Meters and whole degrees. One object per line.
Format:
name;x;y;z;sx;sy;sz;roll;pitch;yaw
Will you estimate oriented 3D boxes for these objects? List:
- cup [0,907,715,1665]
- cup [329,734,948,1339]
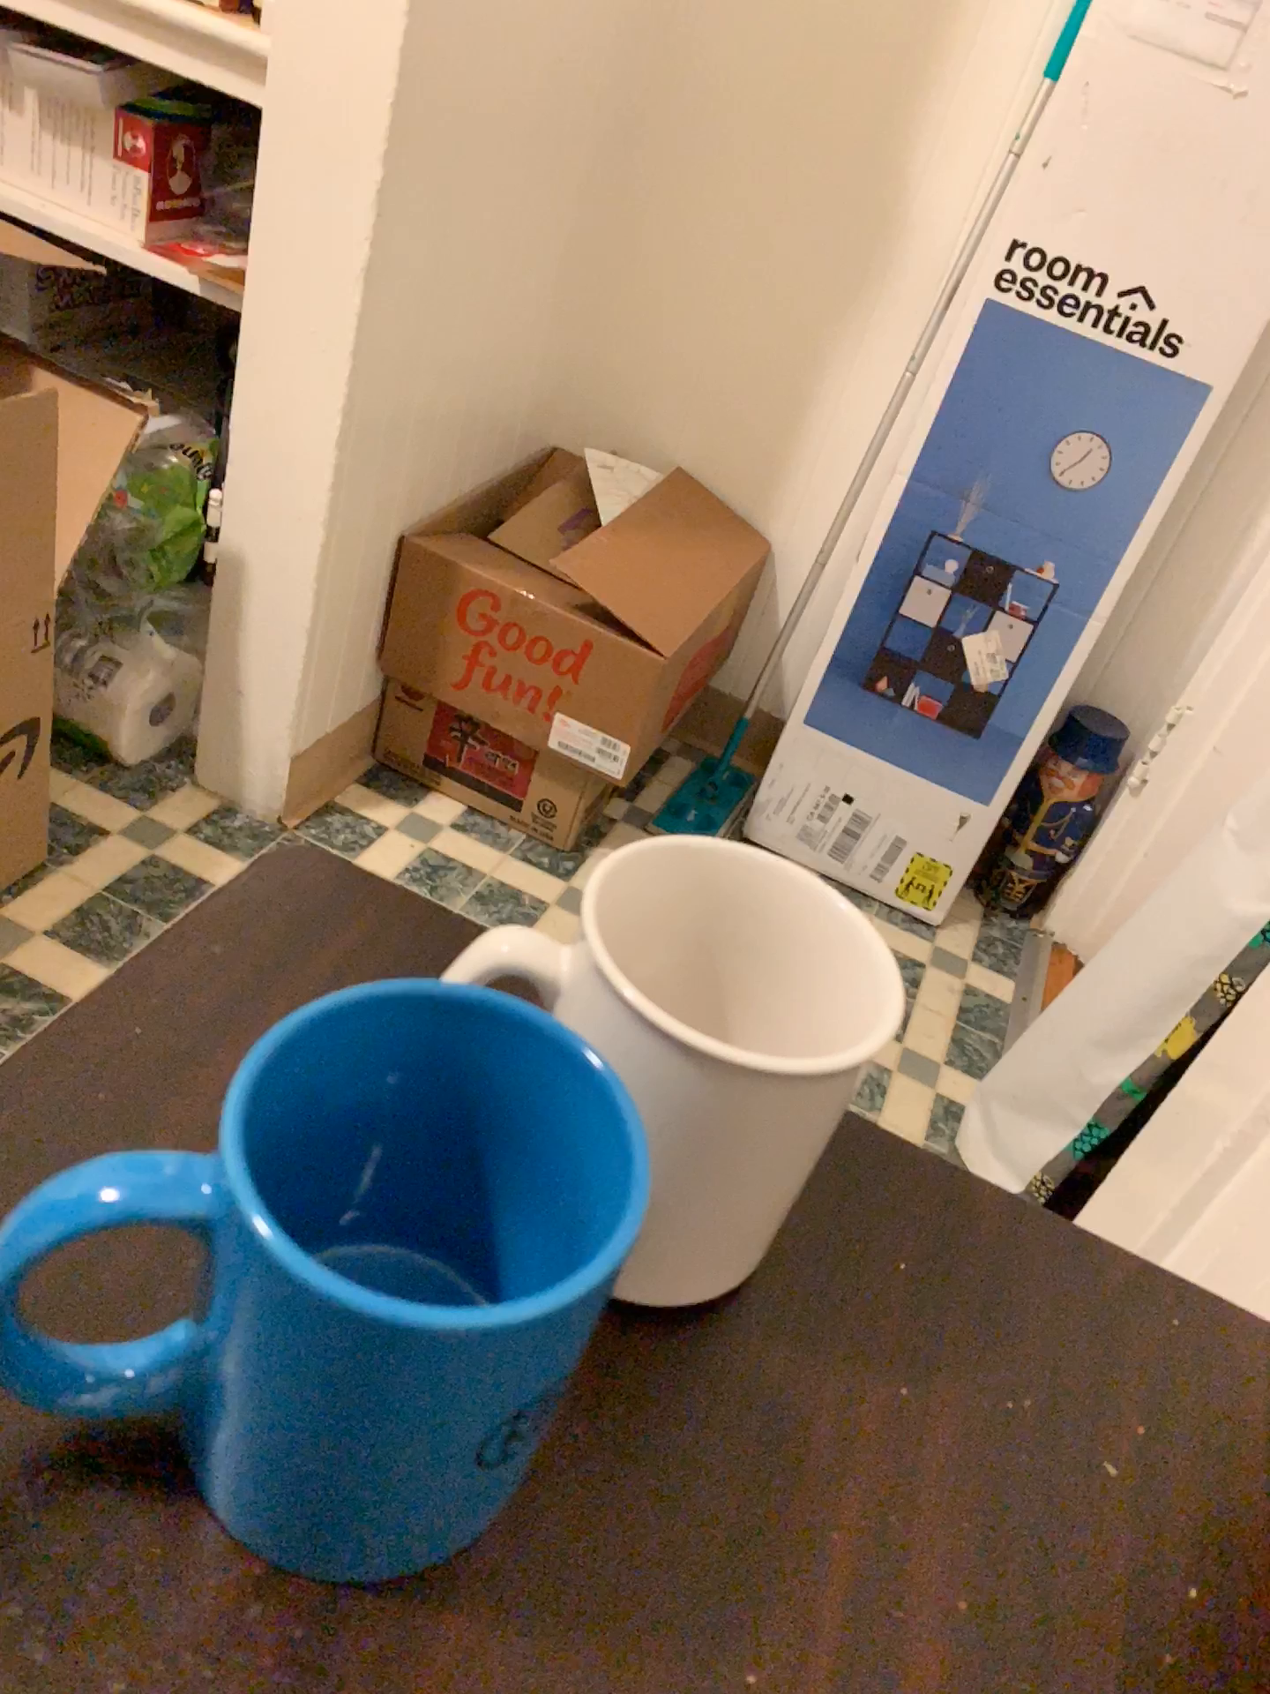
cup;-0.075;0.085;0.258;0.140;0.099;0.090;6;37;-18
cup;-0.001;0.047;0.330;0.120;0.089;0.091;15;35;-7
